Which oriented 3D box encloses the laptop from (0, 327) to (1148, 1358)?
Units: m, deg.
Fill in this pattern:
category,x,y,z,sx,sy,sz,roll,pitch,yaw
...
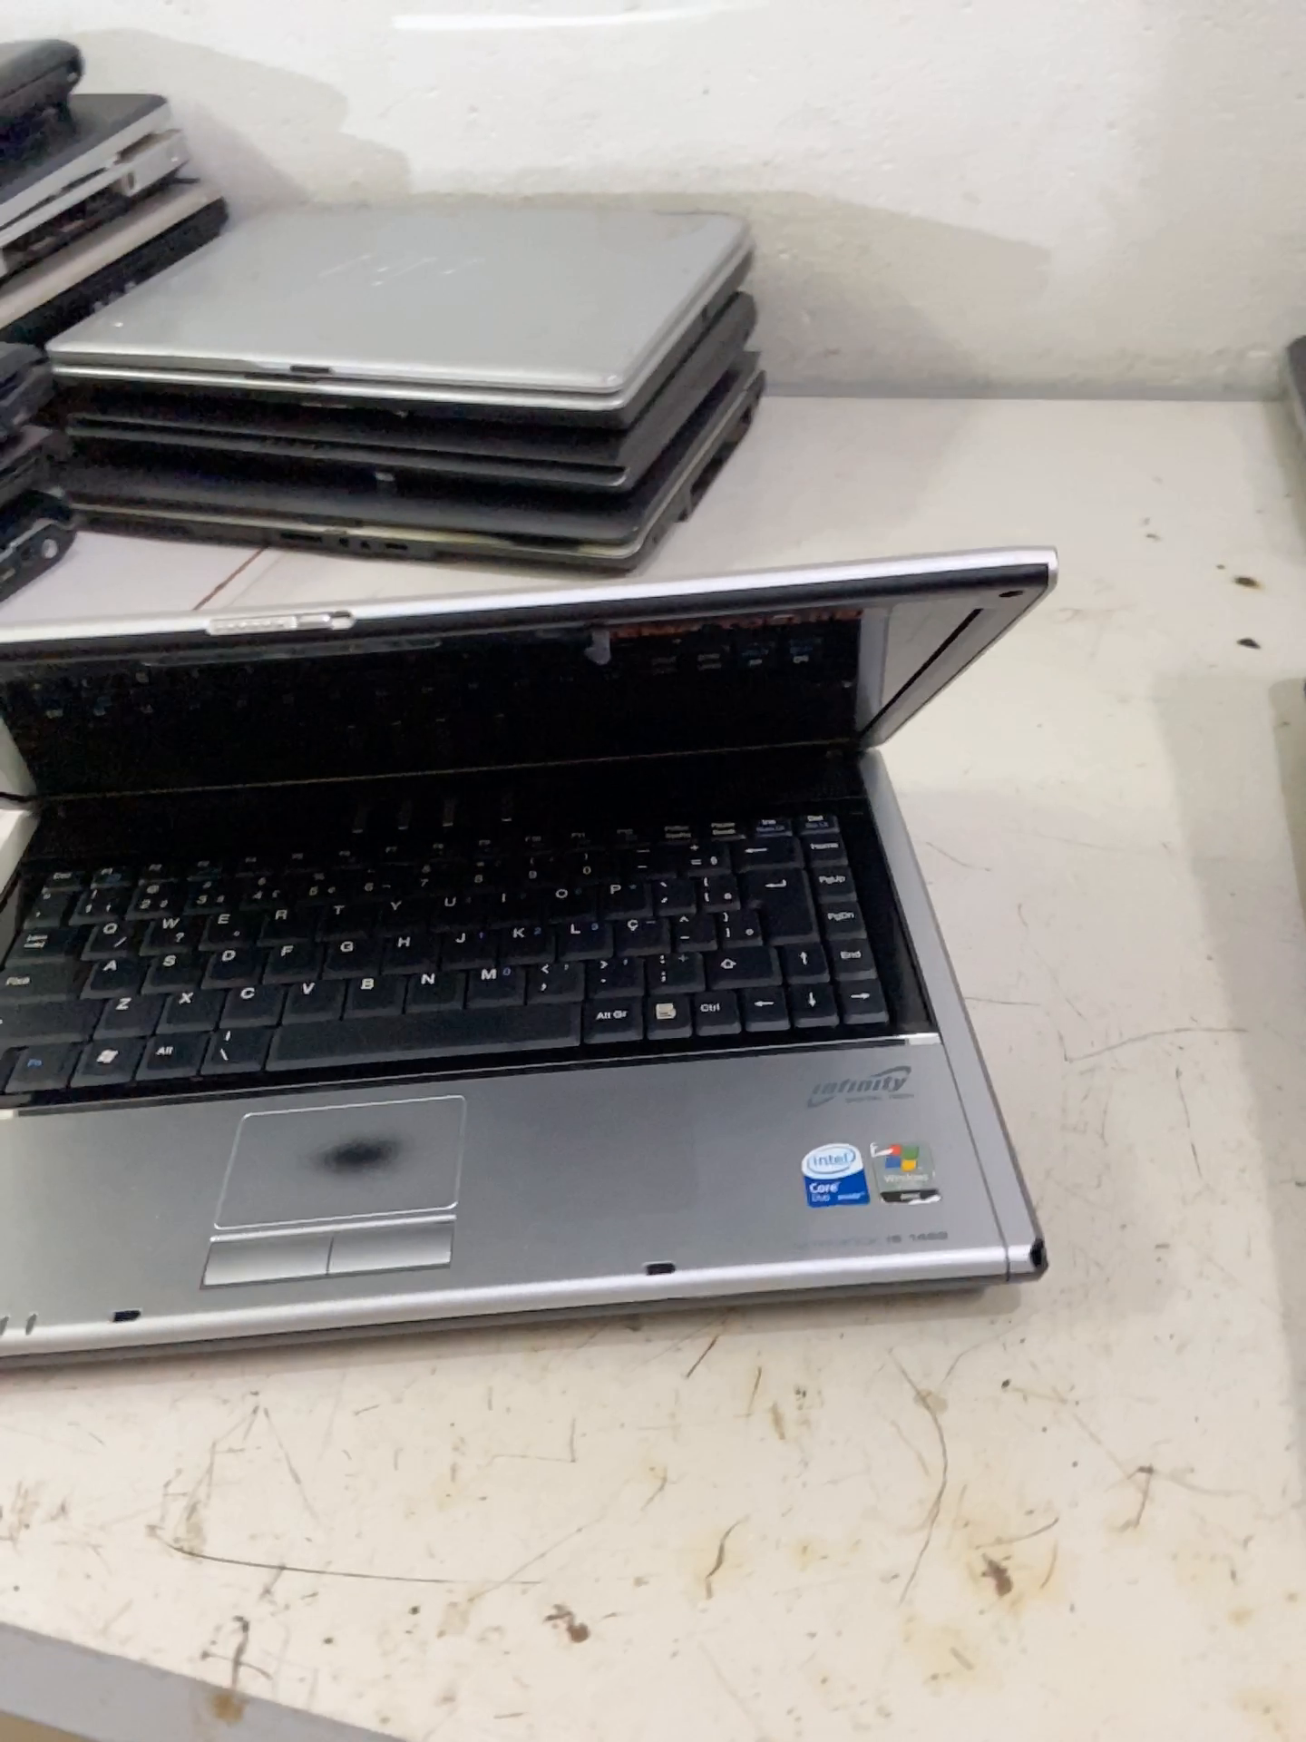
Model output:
category,x,y,z,sx,sy,sz,roll,pitch,yaw
laptop,-0.077,-0.023,0.383,0.330,0.164,0.228,-5,38,0
